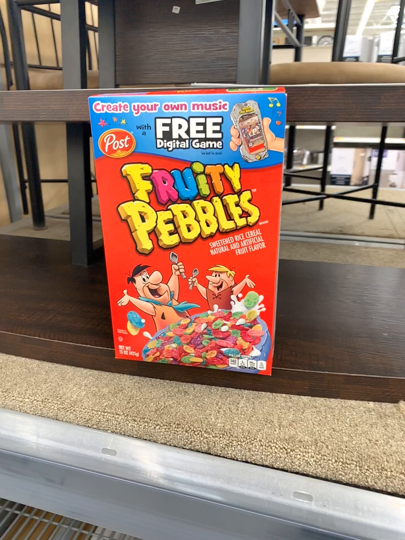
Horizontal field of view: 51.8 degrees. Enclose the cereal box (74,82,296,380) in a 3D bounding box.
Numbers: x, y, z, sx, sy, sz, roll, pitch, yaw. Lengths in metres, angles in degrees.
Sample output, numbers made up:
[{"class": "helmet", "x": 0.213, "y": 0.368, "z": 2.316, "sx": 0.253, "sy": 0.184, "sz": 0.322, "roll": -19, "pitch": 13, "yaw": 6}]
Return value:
[{"class": "cereal box", "x": -0.015, "y": -0.038, "z": 0.465, "sx": 0.210, "sy": 0.309, "sz": 0.060, "roll": 4, "pitch": 21, "yaw": 11}]
